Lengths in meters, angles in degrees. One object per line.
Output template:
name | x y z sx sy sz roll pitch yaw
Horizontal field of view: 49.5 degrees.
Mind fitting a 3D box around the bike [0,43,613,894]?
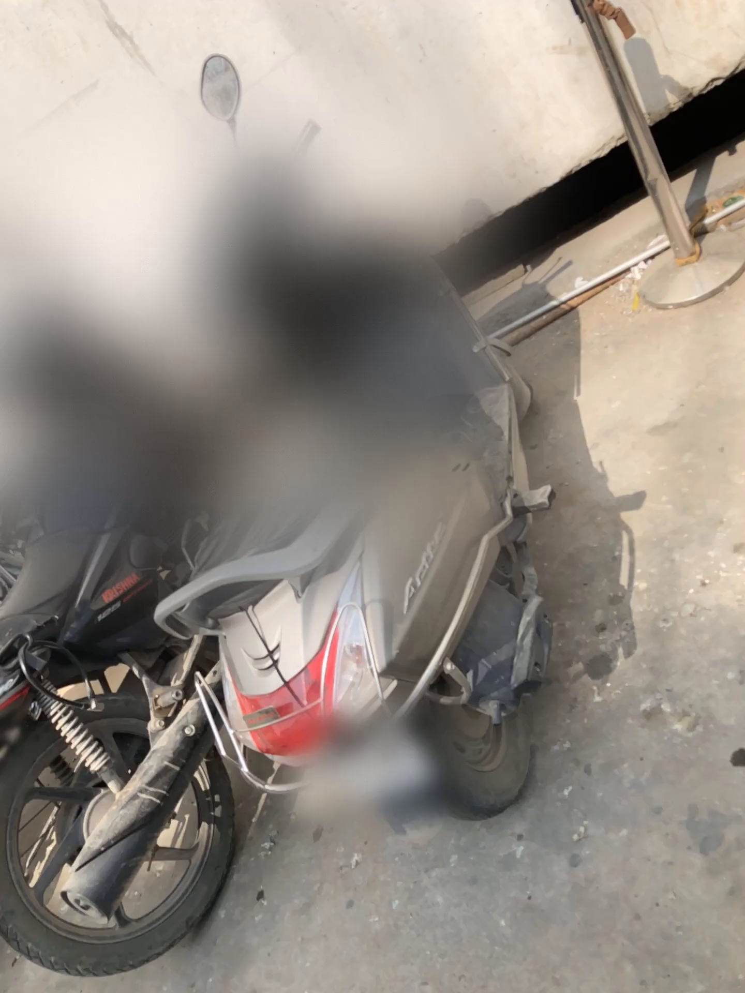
bike | -0.020 -0.145 1.872 0.616 1.108 1.506 -22 34 26
